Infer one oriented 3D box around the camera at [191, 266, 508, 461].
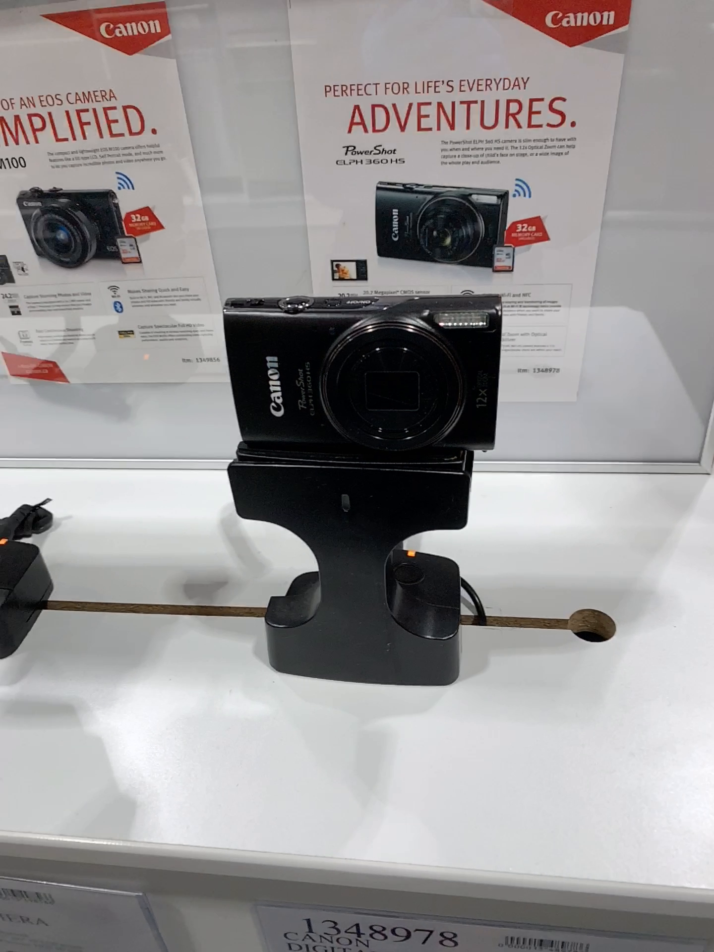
[{"bbox_3d":[0.001,-0.044,0.283,0.110,0.060,0.040,2,34,10],"label":"camera"}]
